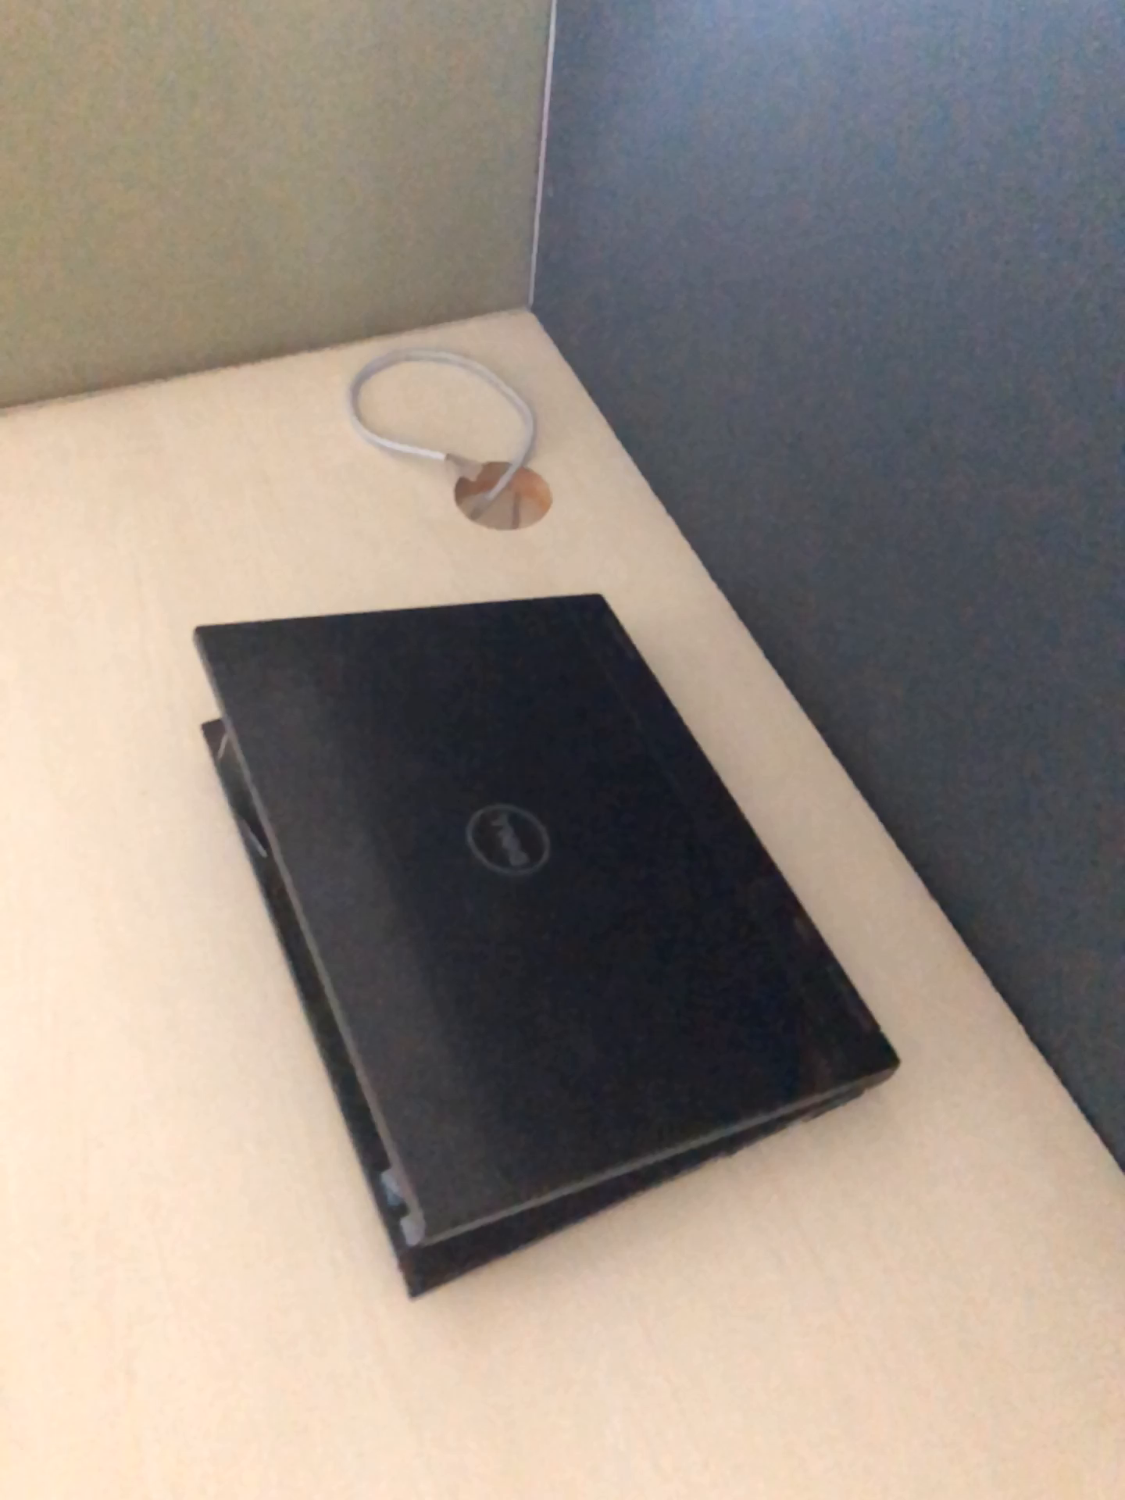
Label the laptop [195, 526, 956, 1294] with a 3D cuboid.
[{"bbox_3d":[-0.011,0.049,0.580,0.230,0.065,0.303,-19,57,-17],"label":"laptop"}]
